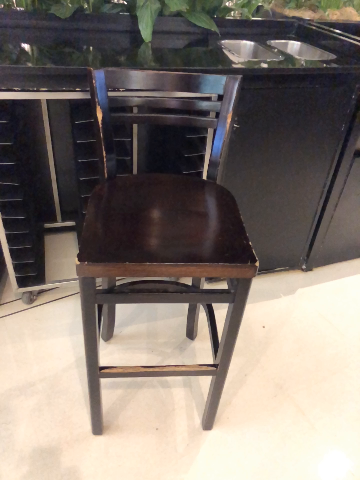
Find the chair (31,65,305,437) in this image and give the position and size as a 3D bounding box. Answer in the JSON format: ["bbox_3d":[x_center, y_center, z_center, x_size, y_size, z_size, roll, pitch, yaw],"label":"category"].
[{"bbox_3d":[-0.057,0.072,1.082,0.440,0.913,0.454,0,36,-6],"label":"chair"}]
